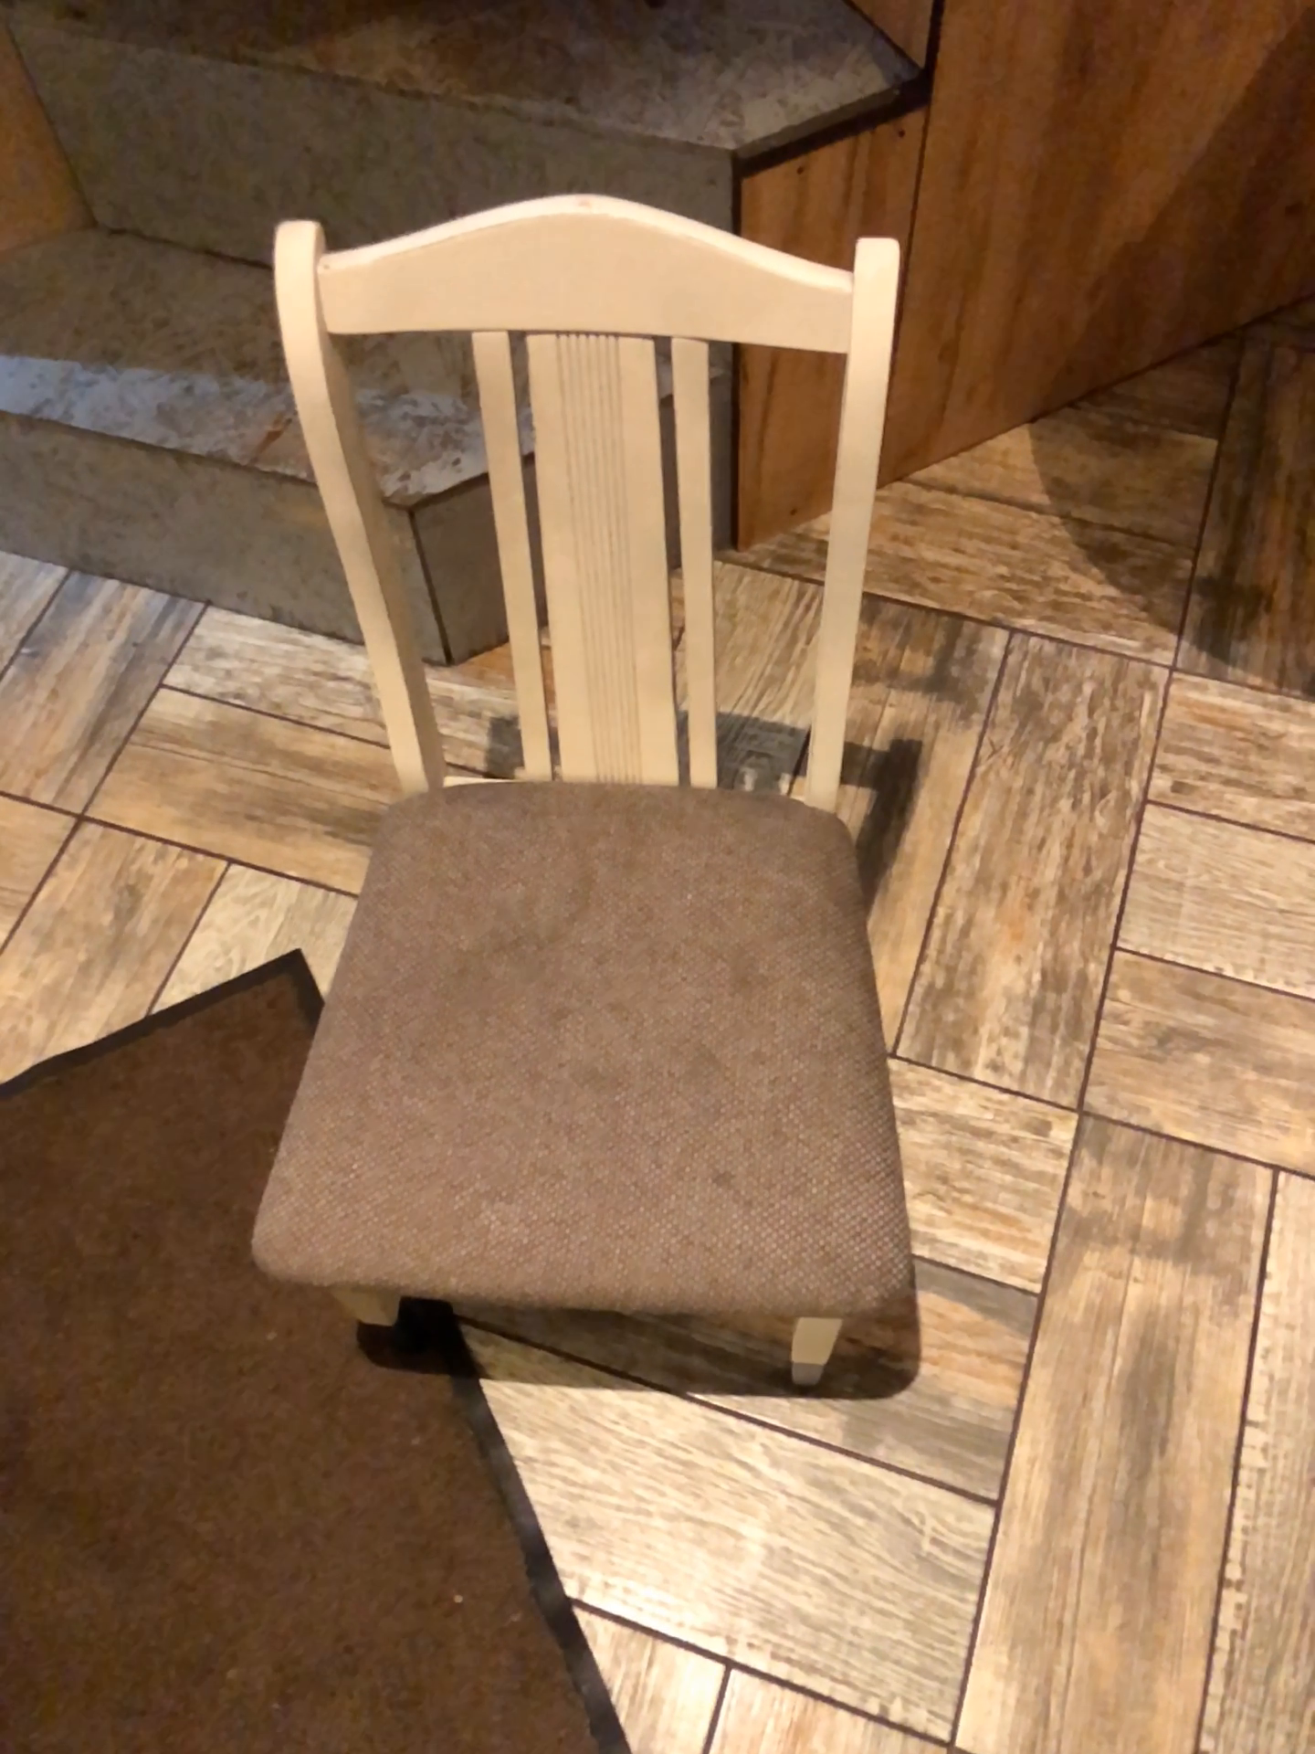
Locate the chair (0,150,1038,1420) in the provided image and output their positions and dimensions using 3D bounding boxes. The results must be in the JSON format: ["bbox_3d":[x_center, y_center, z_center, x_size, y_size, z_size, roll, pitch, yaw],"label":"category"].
[{"bbox_3d":[-0.054,0.042,1.087,0.478,0.918,0.520,3,61,4],"label":"chair"}]
